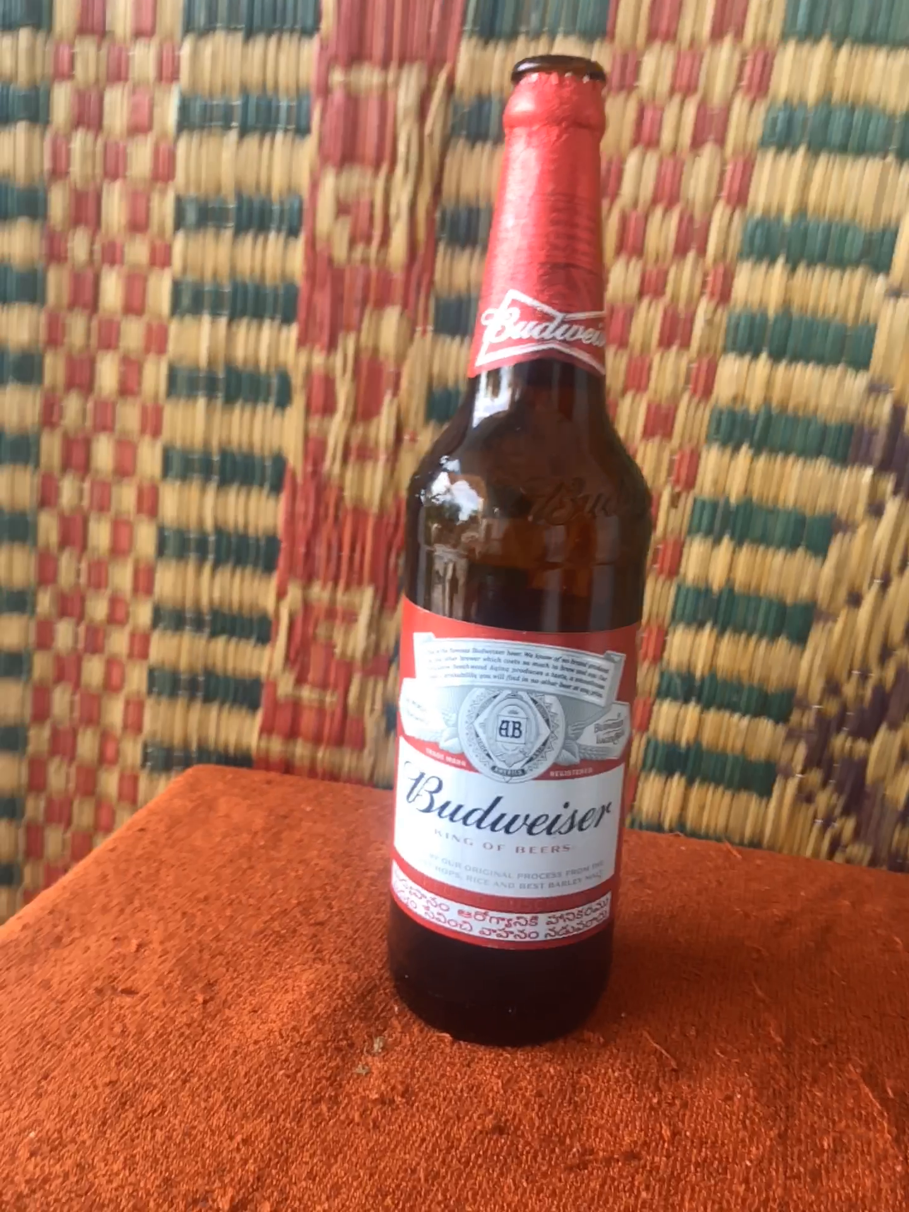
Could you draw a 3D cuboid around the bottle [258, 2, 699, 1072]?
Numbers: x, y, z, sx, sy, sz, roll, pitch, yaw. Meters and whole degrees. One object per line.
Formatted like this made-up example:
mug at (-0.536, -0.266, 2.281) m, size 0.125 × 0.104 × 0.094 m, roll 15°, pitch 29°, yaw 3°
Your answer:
bottle at (0.003, -0.011, 0.282) m, size 0.090 × 0.259 × 0.070 m, roll 7°, pitch 16°, yaw 9°
